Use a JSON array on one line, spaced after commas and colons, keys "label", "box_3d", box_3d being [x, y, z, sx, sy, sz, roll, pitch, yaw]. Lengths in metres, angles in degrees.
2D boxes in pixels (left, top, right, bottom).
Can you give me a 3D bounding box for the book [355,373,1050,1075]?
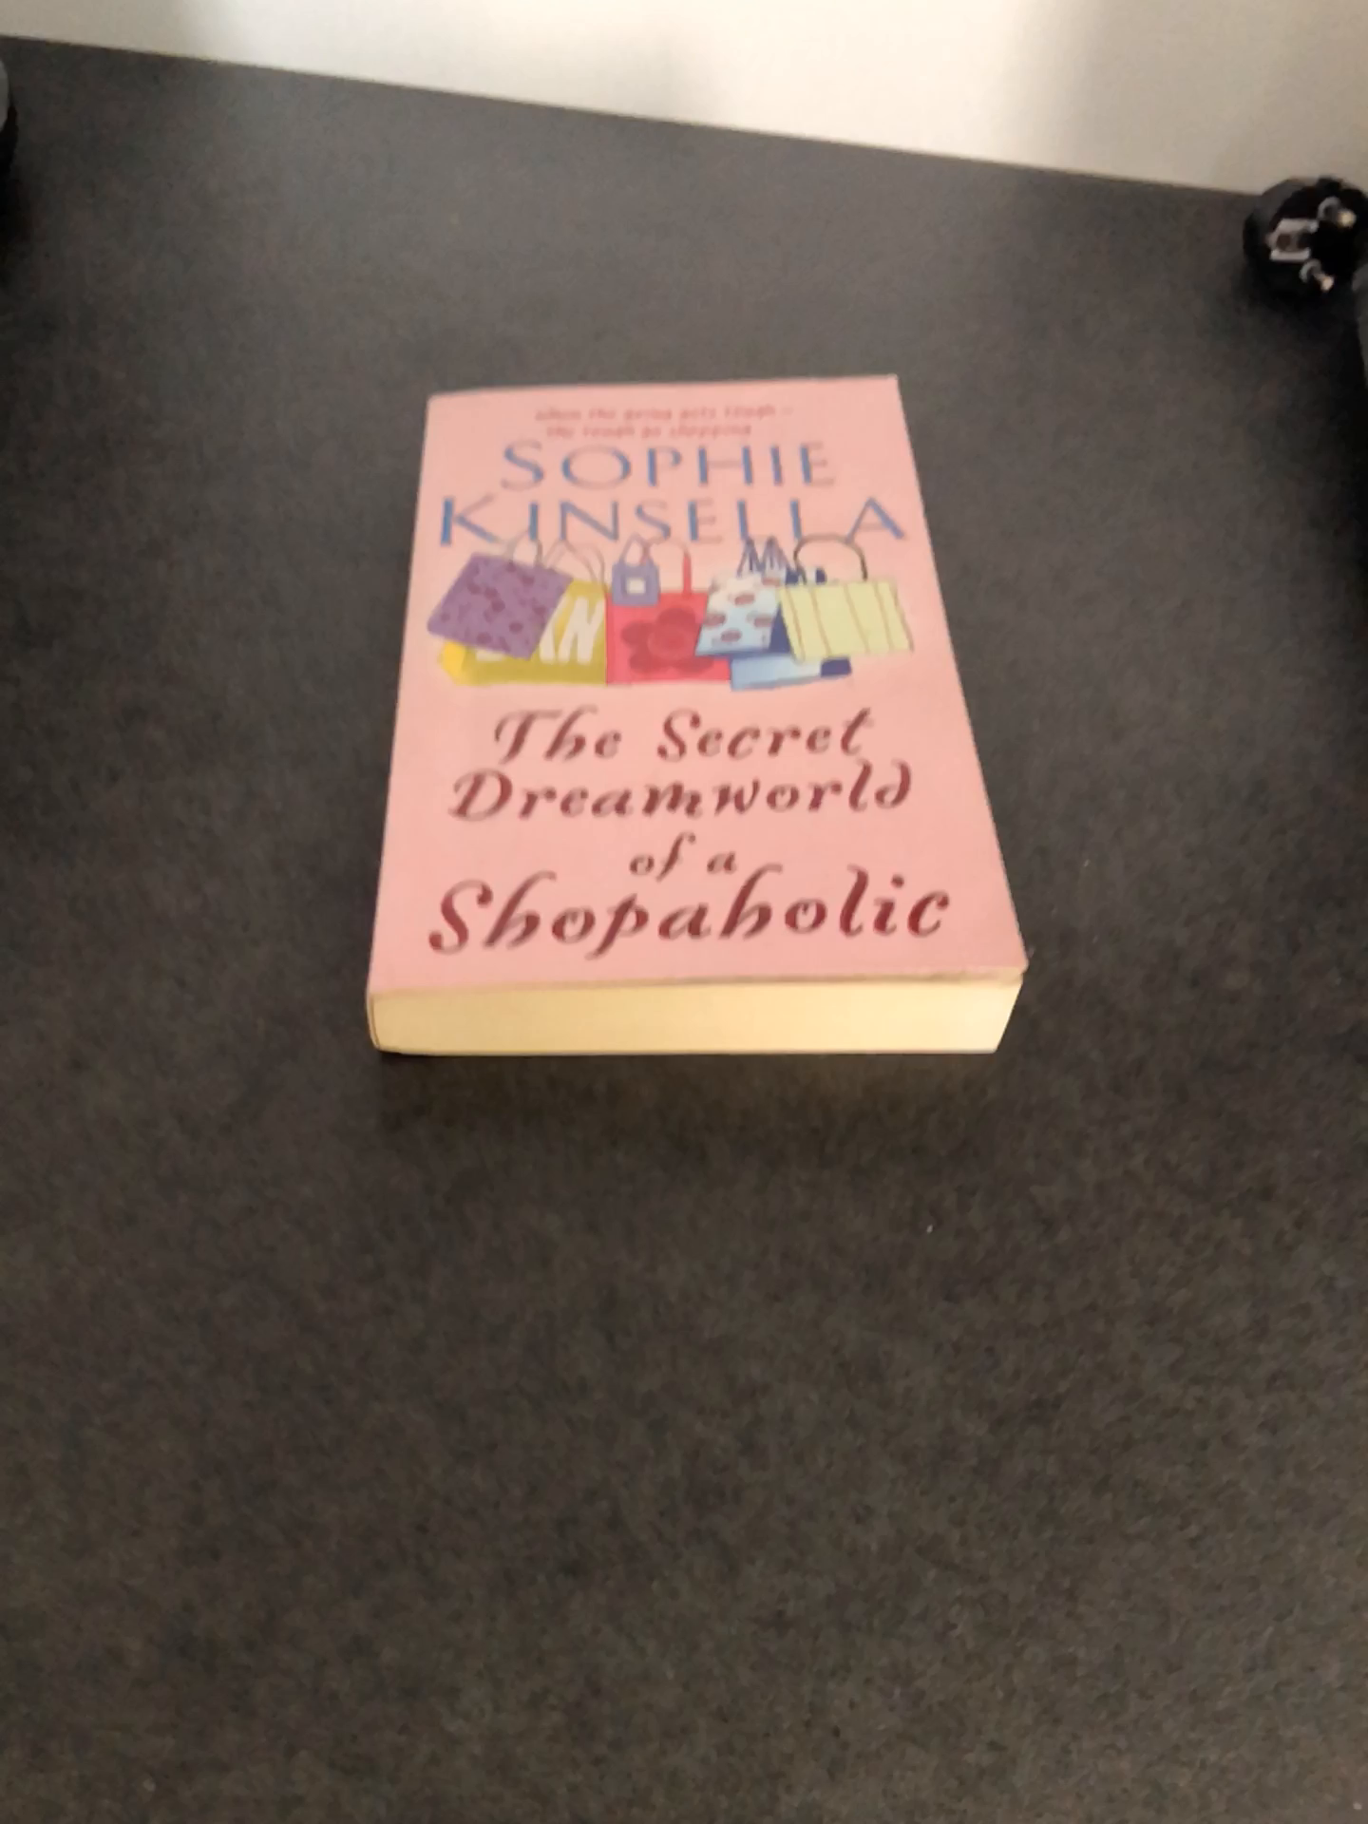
[{"label": "book", "box_3d": [-0.001, -0.056, 0.357, 0.130, 0.030, 0.201, -1, 51, -4]}]
